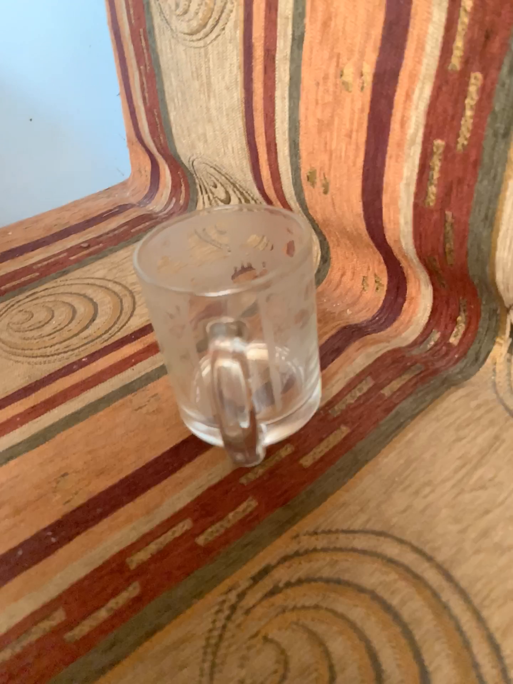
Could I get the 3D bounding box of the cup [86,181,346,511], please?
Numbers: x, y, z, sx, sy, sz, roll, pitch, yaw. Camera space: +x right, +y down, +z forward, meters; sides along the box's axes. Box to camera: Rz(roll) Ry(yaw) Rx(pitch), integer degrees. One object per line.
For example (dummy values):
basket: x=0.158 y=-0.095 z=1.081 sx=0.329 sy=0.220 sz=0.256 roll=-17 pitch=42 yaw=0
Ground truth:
cup: x=-0.015 y=-0.005 z=0.240 sx=0.084 sy=0.086 sz=0.116 roll=-9 pitch=37 yaw=-2
